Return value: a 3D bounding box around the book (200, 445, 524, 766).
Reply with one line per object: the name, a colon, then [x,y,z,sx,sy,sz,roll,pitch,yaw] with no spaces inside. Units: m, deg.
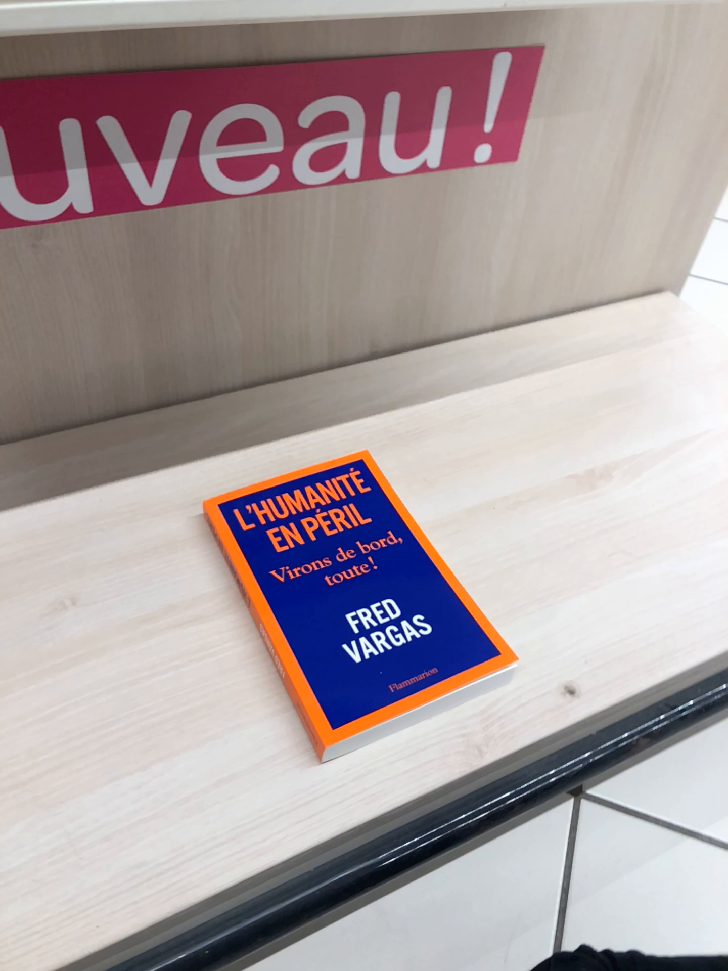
book: [-0.010,0.066,0.544,0.138,0.030,0.208,-16,50,-23]
